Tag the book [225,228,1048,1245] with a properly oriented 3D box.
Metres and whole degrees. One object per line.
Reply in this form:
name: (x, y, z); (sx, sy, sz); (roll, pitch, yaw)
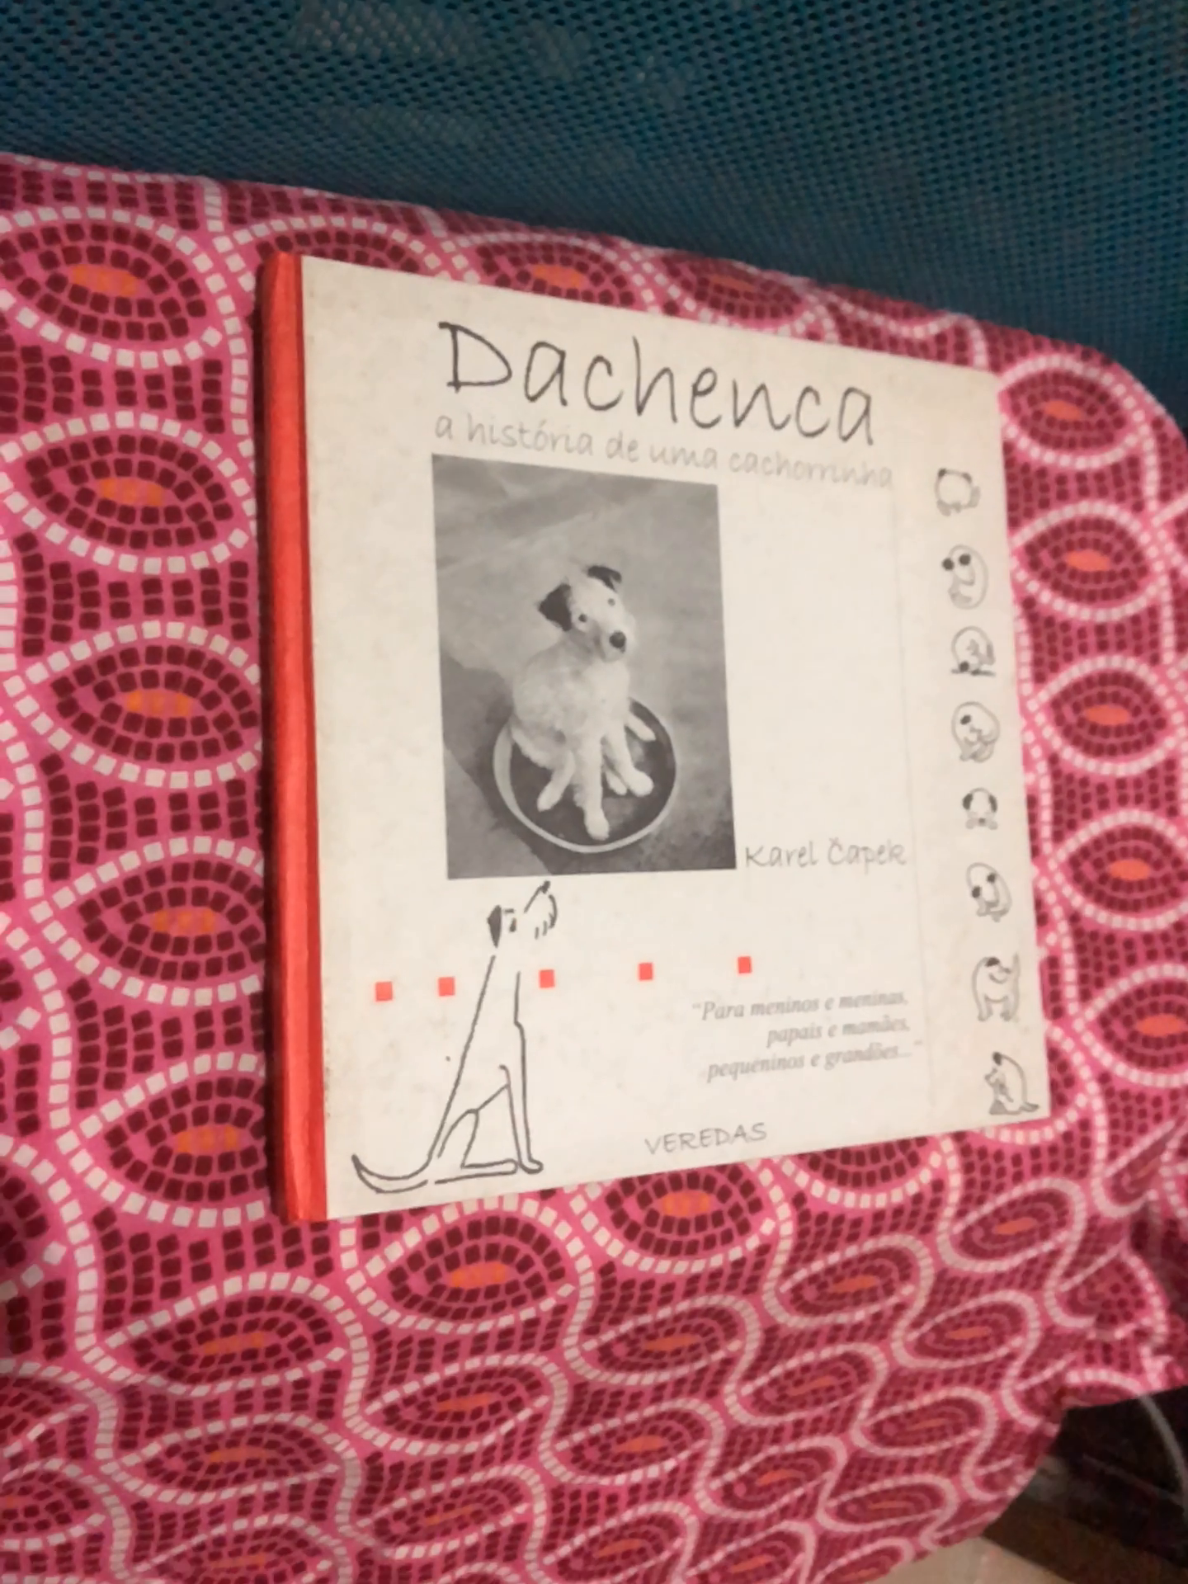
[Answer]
book: (0.017, -0.015, 0.335); (0.206, 0.027, 0.216); (0, 83, -26)
